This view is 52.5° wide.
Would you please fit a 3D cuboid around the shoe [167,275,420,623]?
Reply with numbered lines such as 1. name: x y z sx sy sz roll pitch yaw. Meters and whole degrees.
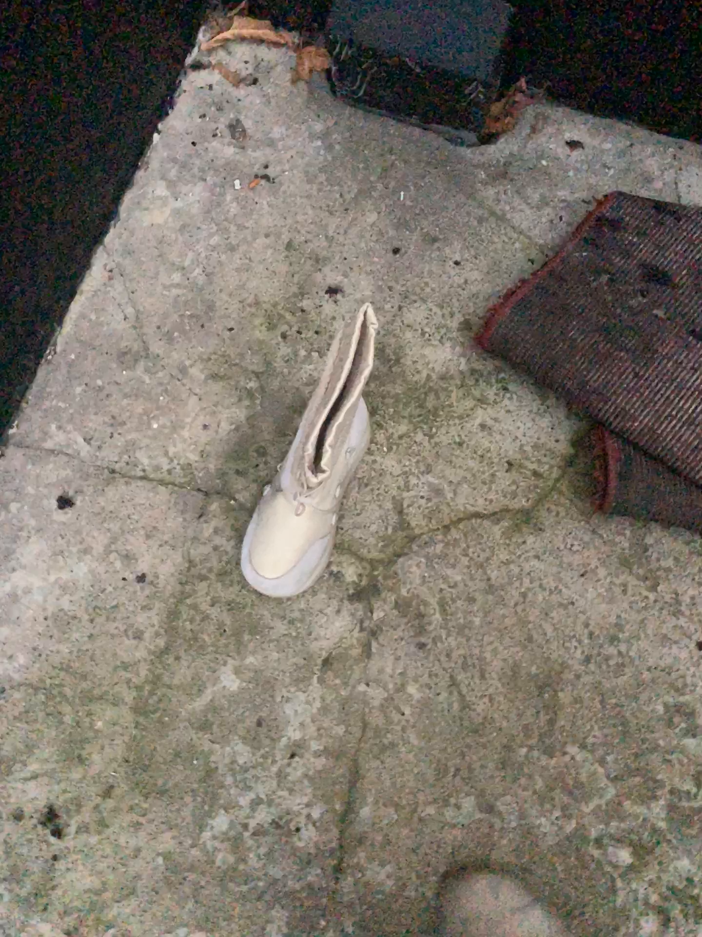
1. shoe: -0.042 0.006 0.765 0.120 0.309 0.271 22 76 7
